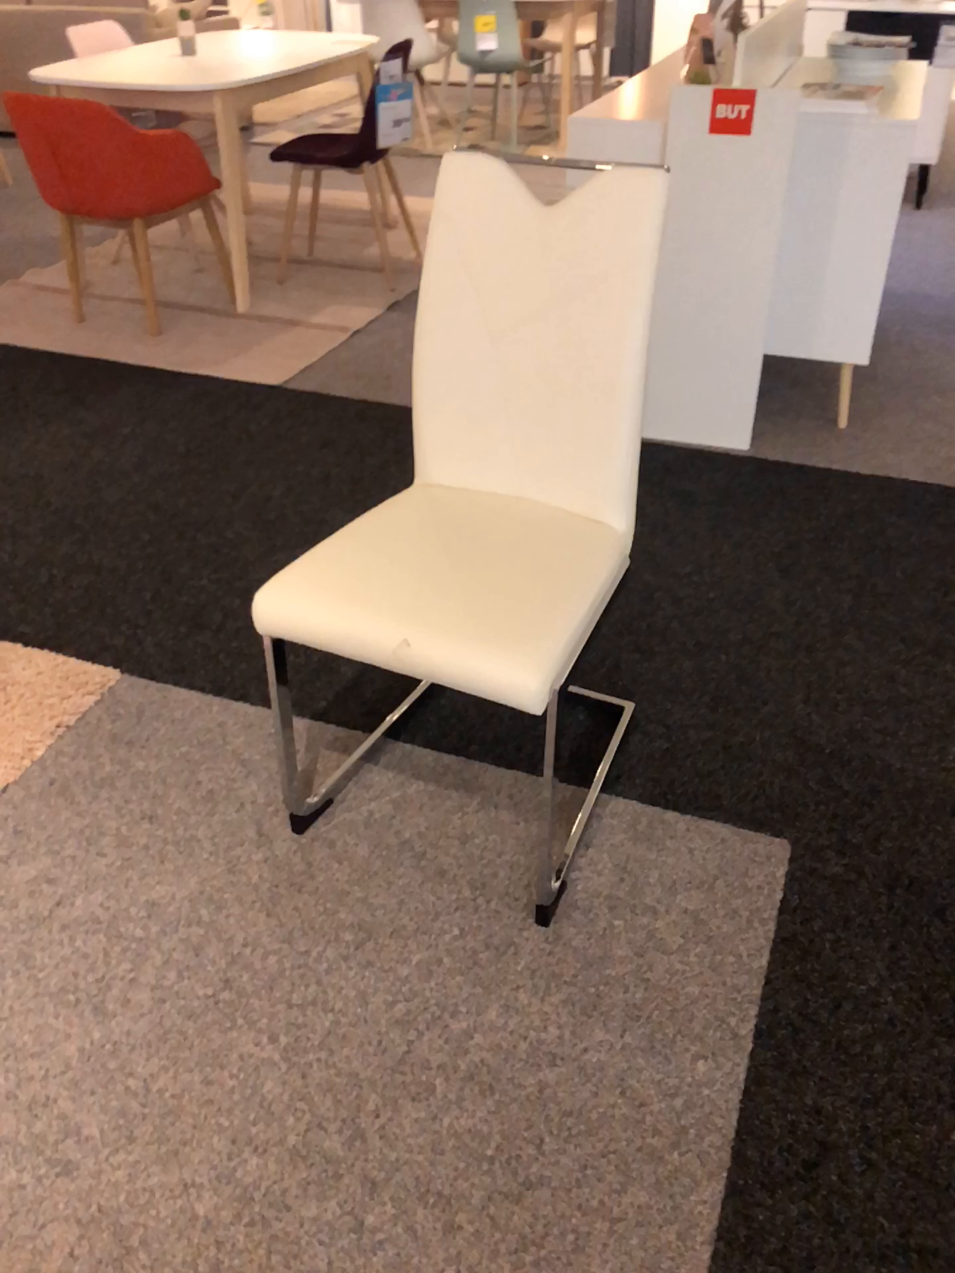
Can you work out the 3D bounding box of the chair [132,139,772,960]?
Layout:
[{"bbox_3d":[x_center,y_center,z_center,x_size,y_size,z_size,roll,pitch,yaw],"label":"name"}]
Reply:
[{"bbox_3d":[0.017,-0.153,1.534,0.560,0.915,0.634,14,38,20],"label":"chair"}]
